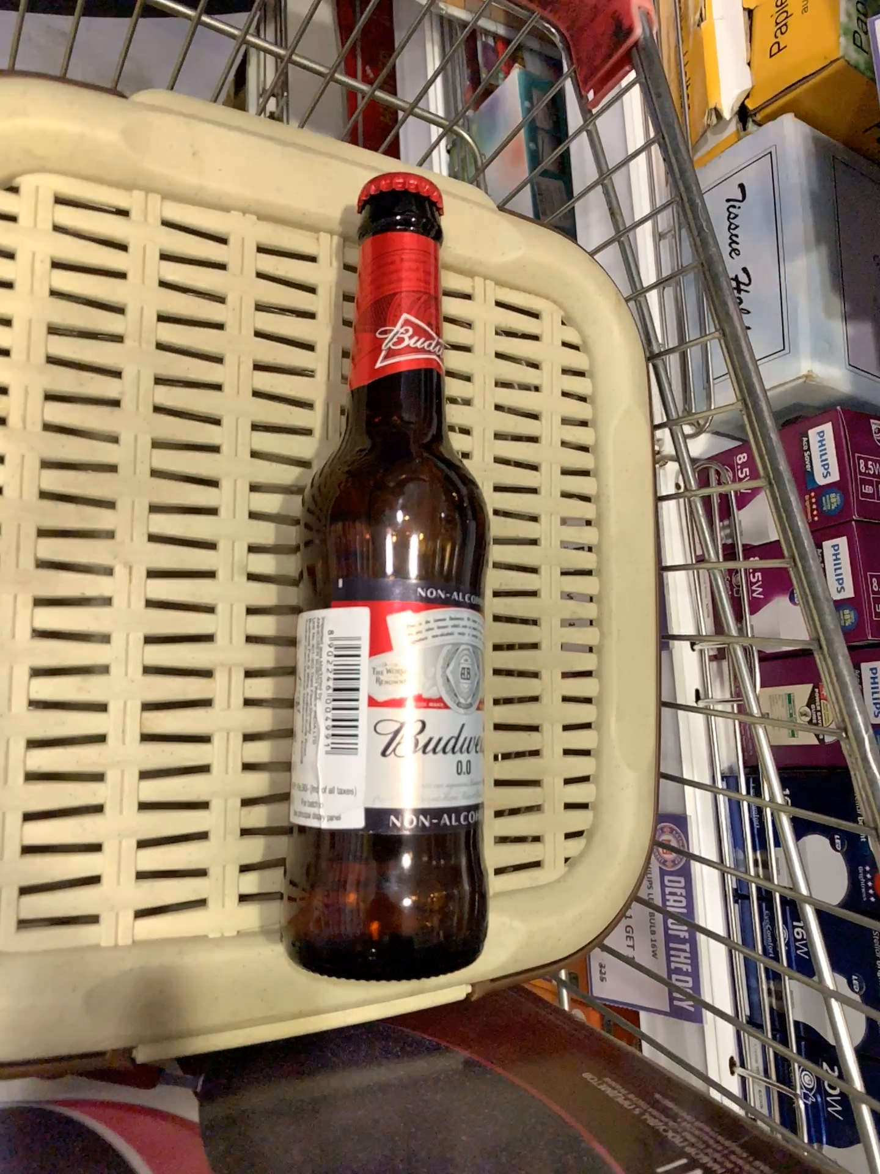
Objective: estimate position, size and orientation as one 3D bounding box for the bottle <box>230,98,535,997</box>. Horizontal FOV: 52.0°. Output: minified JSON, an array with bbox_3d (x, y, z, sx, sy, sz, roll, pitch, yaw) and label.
[{"bbox_3d":[-0.016,-0.011,0.262,0.060,0.060,0.220,6,82,-47],"label":"bottle"}]
